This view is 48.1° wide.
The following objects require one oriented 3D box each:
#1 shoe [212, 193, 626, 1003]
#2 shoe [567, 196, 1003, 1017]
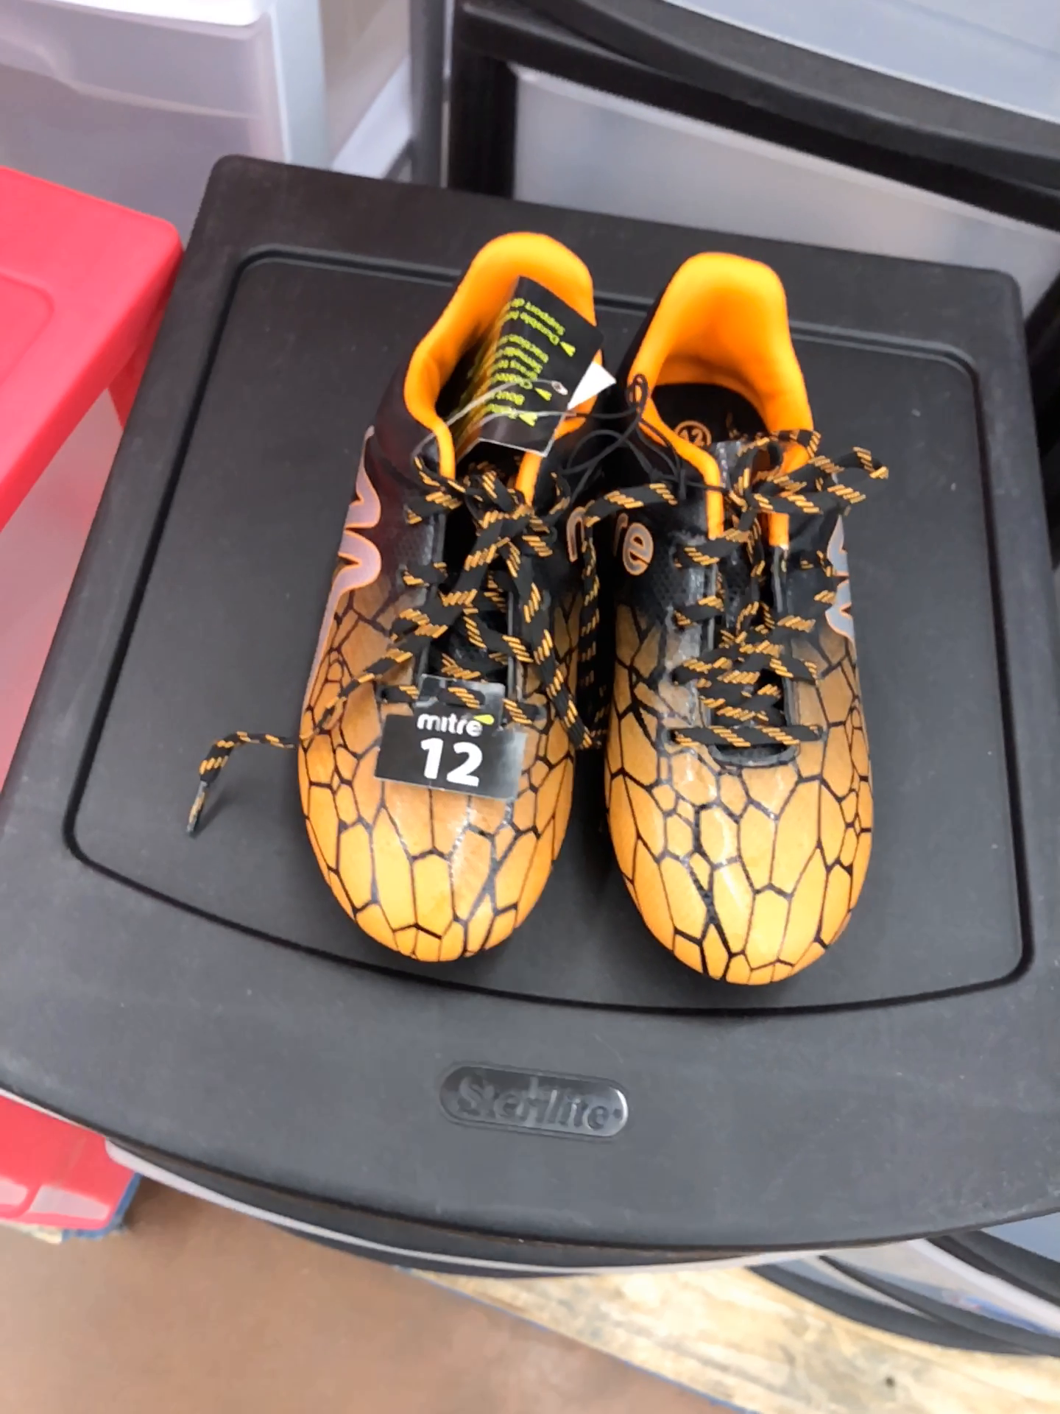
[{"bbox_3d":[-0.022,-0.032,0.322,0.080,0.080,0.200,5,64,-3],"label":"shoe"},{"bbox_3d":[0.056,-0.030,0.309,0.080,0.070,0.200,4,64,-3],"label":"shoe"}]
